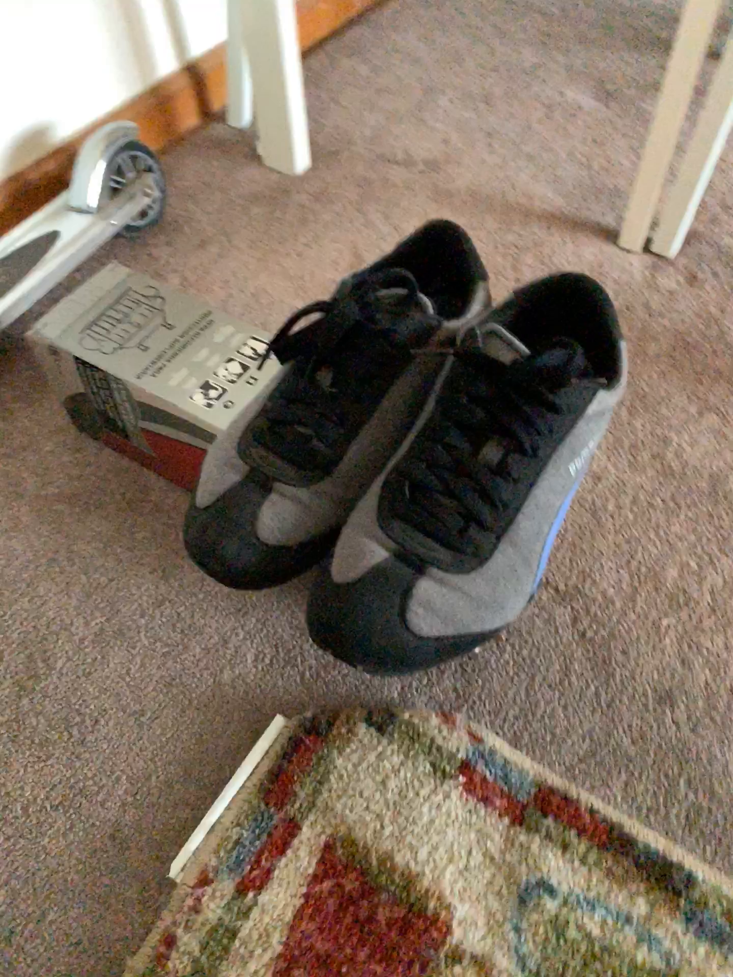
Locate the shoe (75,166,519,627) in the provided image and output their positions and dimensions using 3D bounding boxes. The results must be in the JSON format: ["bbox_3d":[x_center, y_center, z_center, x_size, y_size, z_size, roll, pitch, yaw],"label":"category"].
[{"bbox_3d":[-0.021,-0.060,0.402,0.100,0.089,0.231,27,60,20],"label":"shoe"}]

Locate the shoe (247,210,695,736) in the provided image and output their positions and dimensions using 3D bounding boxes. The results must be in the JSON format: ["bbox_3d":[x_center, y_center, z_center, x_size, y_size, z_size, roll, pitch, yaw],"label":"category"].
[{"bbox_3d":[0.061,-0.020,0.381,0.100,0.099,0.242,27,60,20],"label":"shoe"}]
